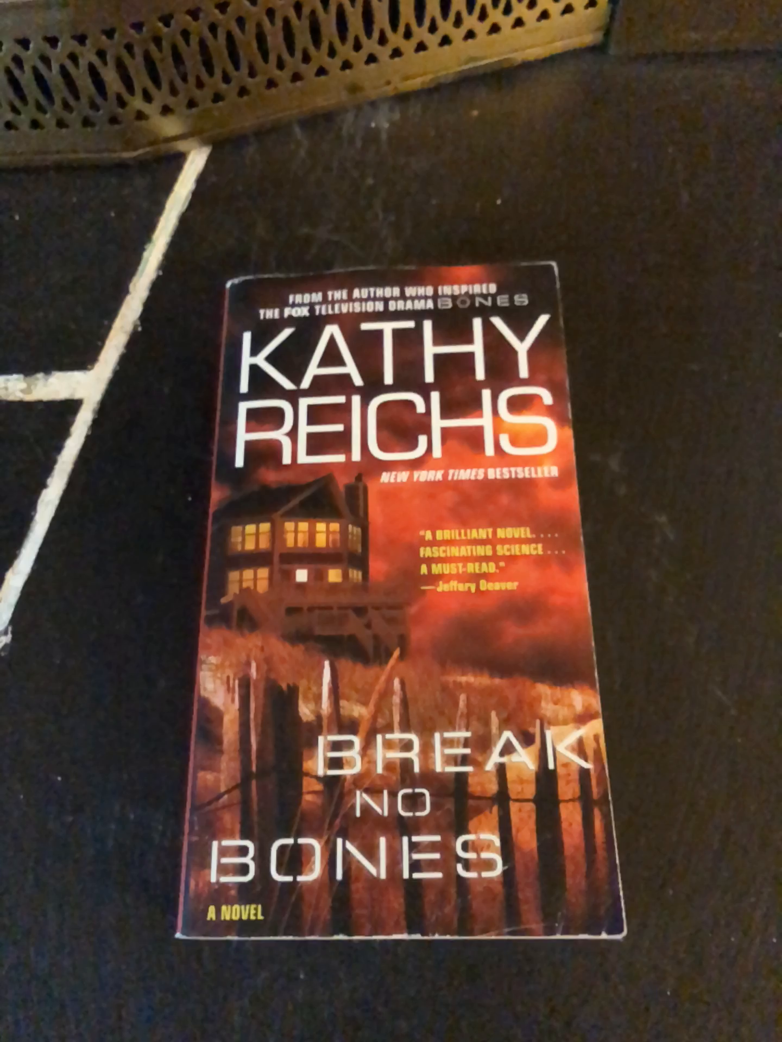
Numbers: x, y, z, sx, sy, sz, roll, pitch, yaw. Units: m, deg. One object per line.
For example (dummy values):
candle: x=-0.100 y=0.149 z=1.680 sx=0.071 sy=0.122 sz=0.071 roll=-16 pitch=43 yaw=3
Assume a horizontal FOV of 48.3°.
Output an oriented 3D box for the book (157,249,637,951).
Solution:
book: x=0.001 y=0.013 z=0.244 sx=0.108 sy=0.030 sz=0.190 roll=-2 pitch=68 yaw=3
